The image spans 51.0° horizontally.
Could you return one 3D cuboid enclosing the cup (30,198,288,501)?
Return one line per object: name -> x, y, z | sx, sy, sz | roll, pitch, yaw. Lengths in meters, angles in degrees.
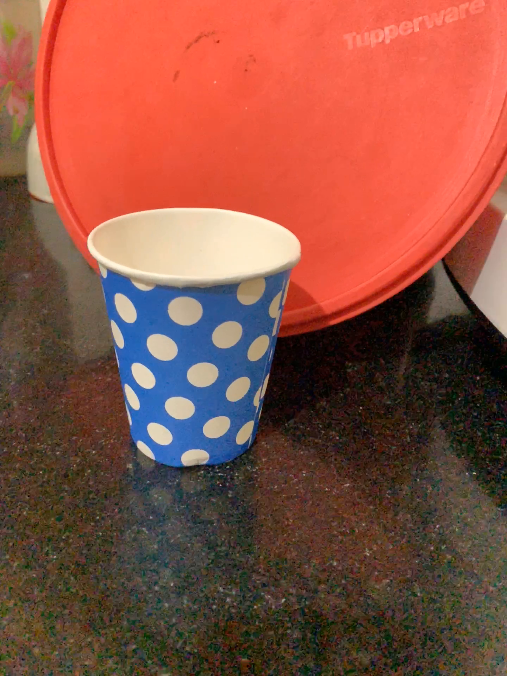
cup -> -0.027, 0.000, 0.194 | 0.070, 0.079, 0.071 | 4, 28, -2
